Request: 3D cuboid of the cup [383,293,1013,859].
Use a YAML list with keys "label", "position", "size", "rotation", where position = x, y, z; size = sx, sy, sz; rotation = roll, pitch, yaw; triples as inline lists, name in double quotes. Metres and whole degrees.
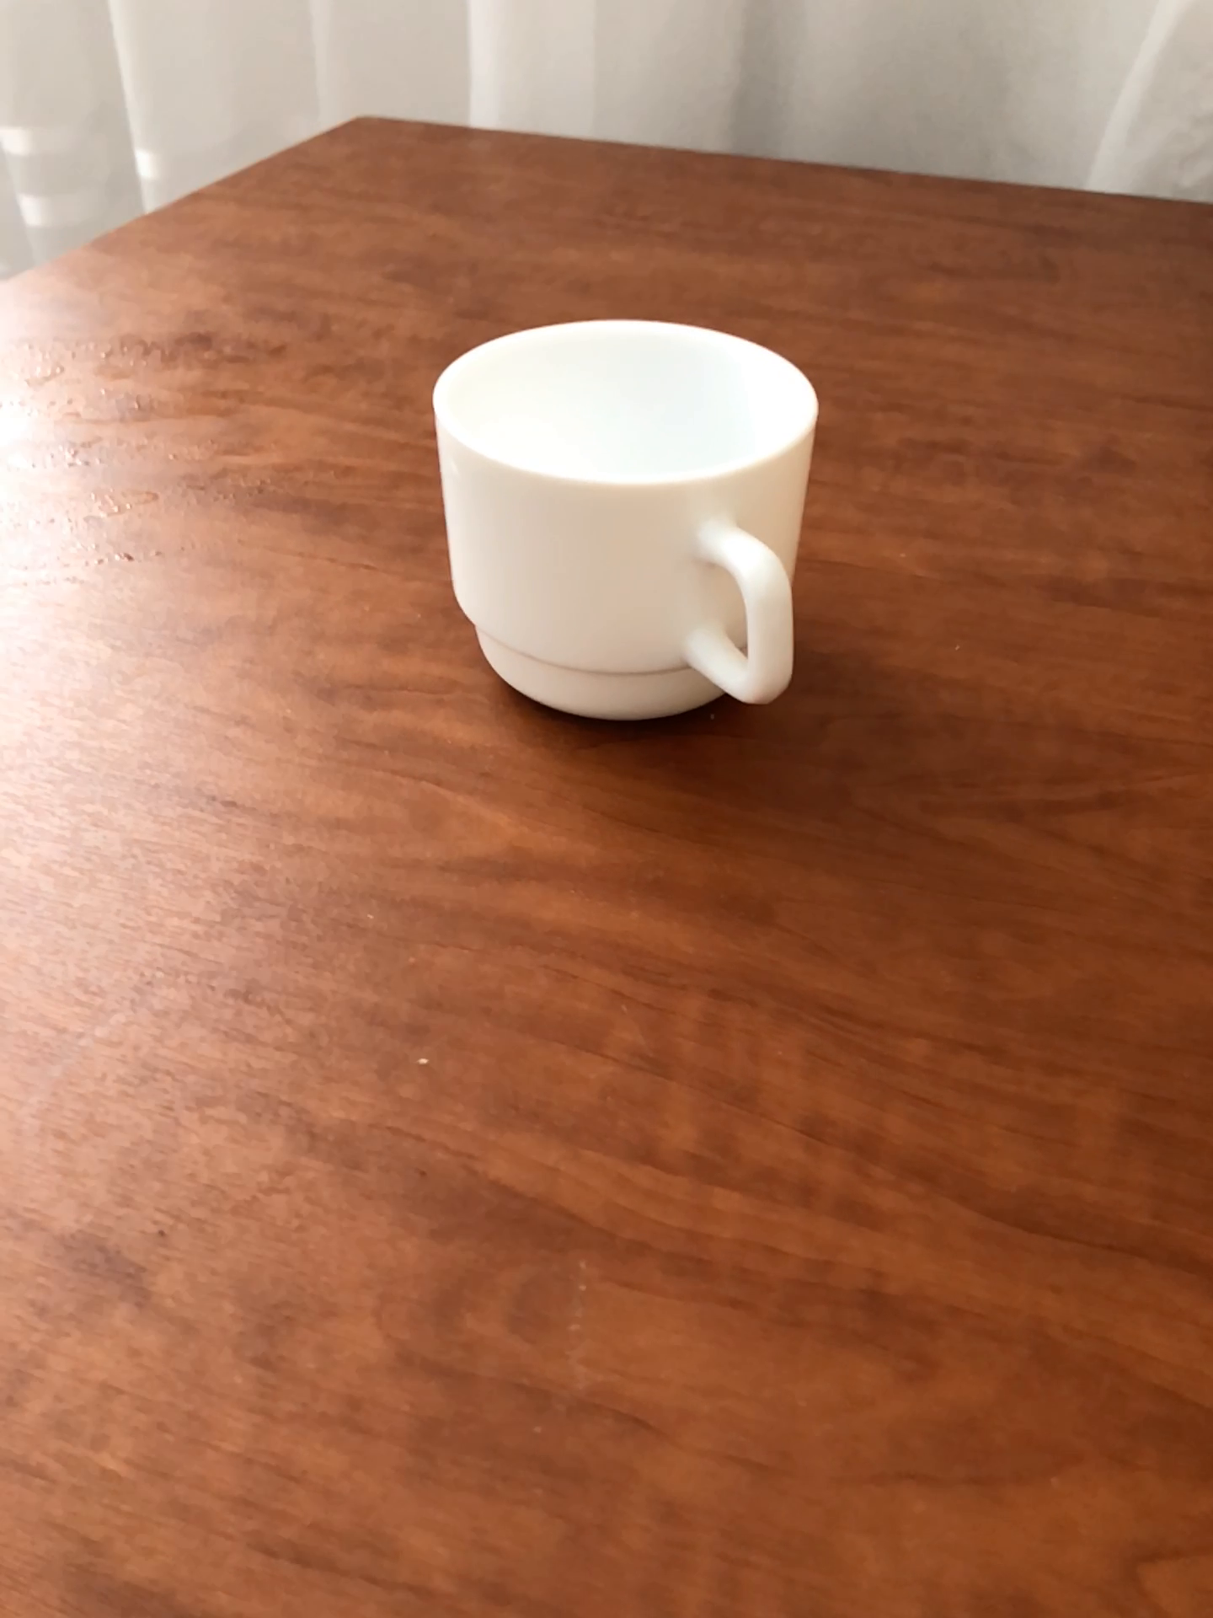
- label: "cup"
  position: [0.013, -0.060, 0.303]
  size: [0.087, 0.060, 0.120]
  rotation: [-16, 43, -20]
